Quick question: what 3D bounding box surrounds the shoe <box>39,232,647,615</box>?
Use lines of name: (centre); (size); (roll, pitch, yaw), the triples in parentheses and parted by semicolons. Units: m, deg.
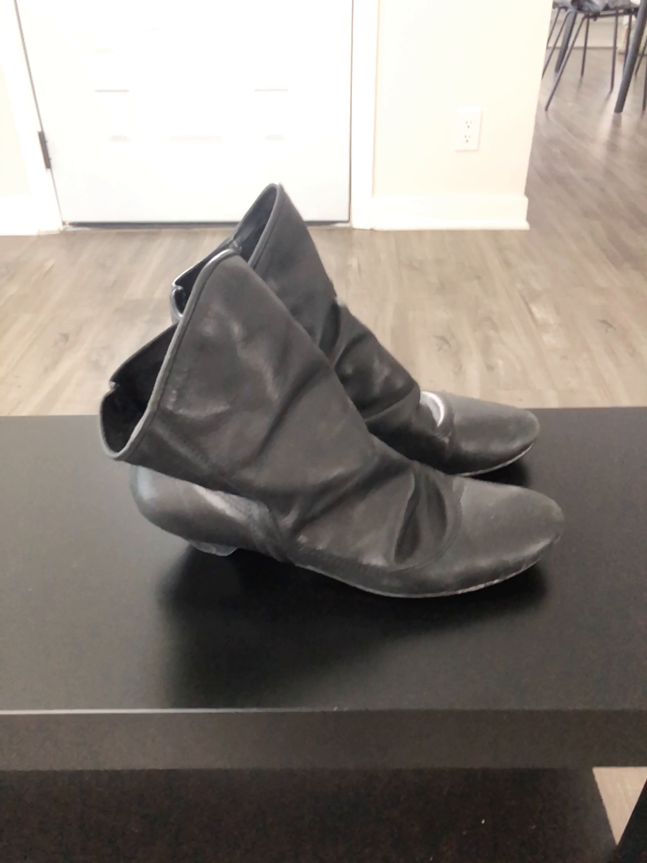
shoe: (0.012, -0.003, 0.374); (0.250, 0.169, 0.102); (-1, 34, 0)

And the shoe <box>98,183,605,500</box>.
shoe: (0.015, -0.056, 0.455); (0.260, 0.169, 0.102); (-1, 34, 0)
